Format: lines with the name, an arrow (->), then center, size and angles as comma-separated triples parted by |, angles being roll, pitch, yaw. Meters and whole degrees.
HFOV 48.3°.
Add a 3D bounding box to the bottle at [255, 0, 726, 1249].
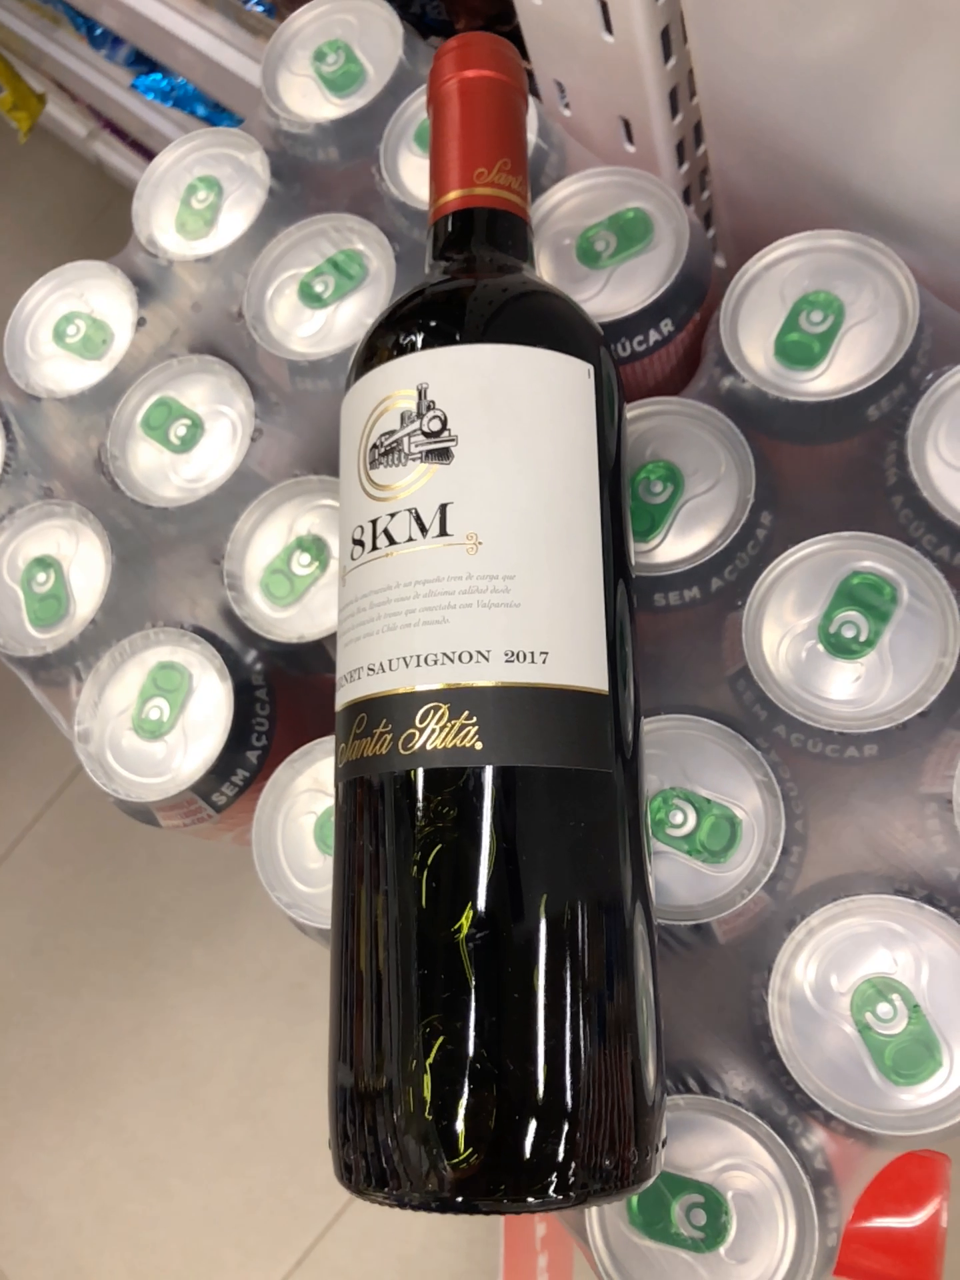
bottle -> 0.000, -0.041, 0.261 | 0.080, 0.070, 0.320 | -7, 73, 14
